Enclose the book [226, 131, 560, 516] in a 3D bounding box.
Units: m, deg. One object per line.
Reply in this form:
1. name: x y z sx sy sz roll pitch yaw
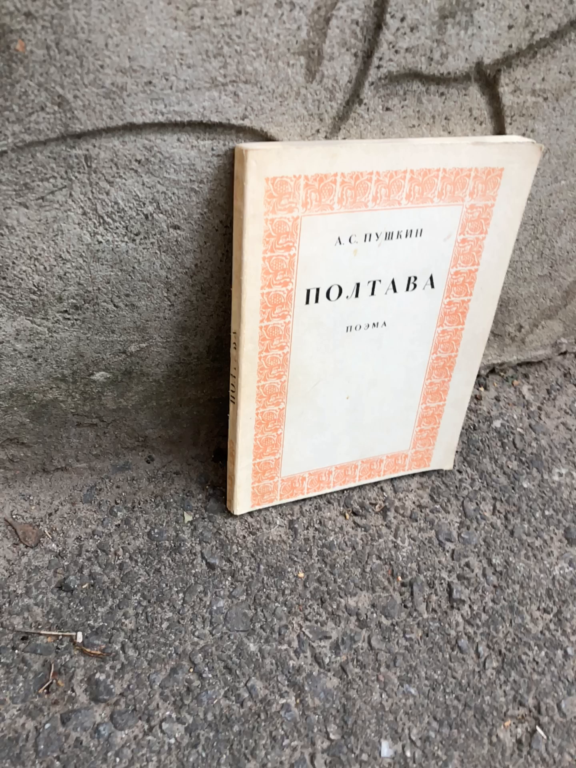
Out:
1. book: 0.045 -0.025 0.333 0.150 0.199 0.020 -8 36 -19
